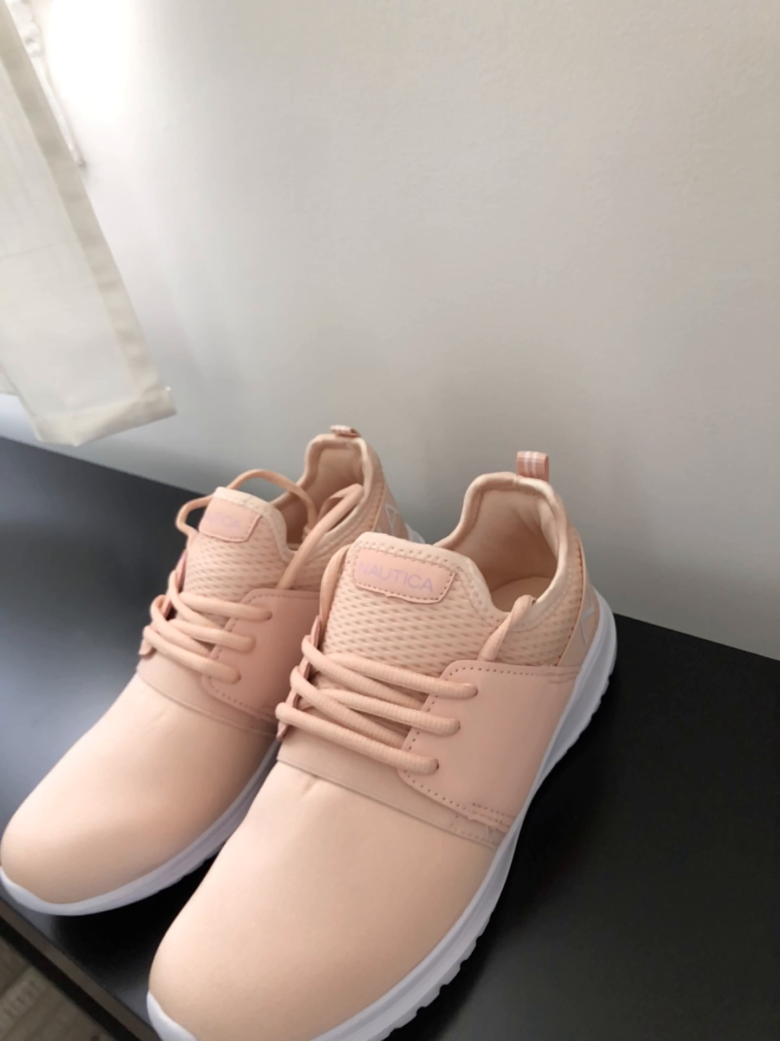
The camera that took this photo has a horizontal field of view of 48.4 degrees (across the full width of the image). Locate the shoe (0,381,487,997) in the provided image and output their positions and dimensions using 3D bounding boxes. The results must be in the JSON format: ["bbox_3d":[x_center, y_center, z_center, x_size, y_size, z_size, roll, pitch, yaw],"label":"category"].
[{"bbox_3d":[-0.071,0.050,0.391,0.100,0.110,0.250,15,44,35],"label":"shoe"}]

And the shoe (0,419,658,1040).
[{"bbox_3d":[0.002,0.076,0.322,0.100,0.110,0.240,15,44,35],"label":"shoe"}]
